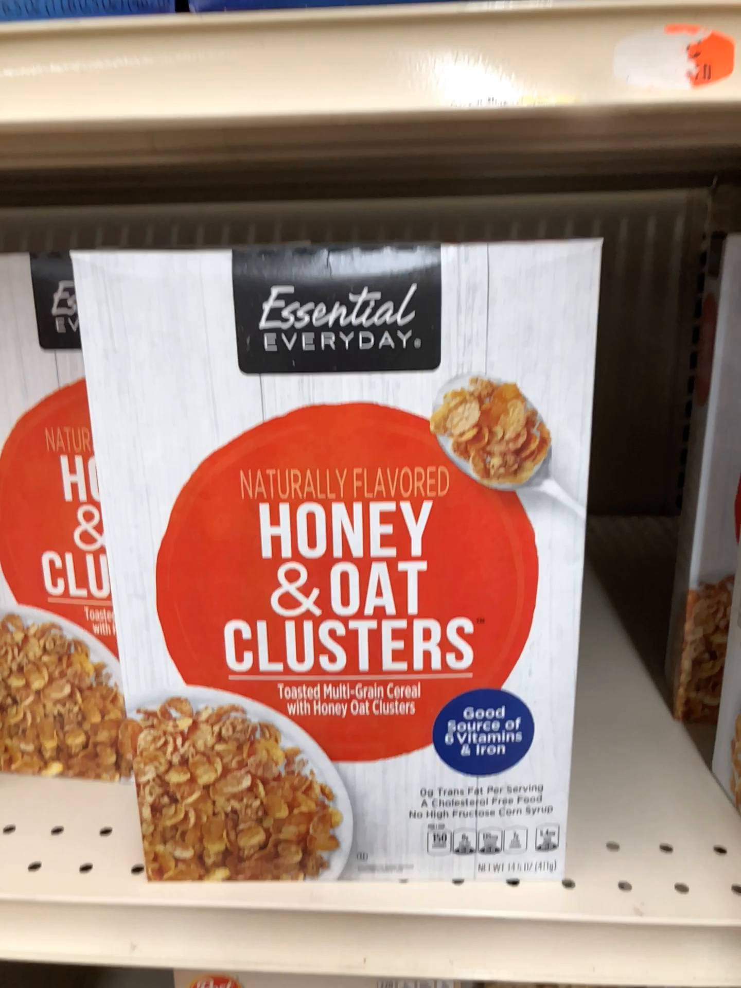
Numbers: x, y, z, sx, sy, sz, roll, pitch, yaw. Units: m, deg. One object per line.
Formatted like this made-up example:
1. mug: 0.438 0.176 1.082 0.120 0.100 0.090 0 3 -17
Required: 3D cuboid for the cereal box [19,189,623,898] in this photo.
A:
1. cereal box: -0.014 0.029 0.364 0.210 0.299 0.070 -1 17 3
